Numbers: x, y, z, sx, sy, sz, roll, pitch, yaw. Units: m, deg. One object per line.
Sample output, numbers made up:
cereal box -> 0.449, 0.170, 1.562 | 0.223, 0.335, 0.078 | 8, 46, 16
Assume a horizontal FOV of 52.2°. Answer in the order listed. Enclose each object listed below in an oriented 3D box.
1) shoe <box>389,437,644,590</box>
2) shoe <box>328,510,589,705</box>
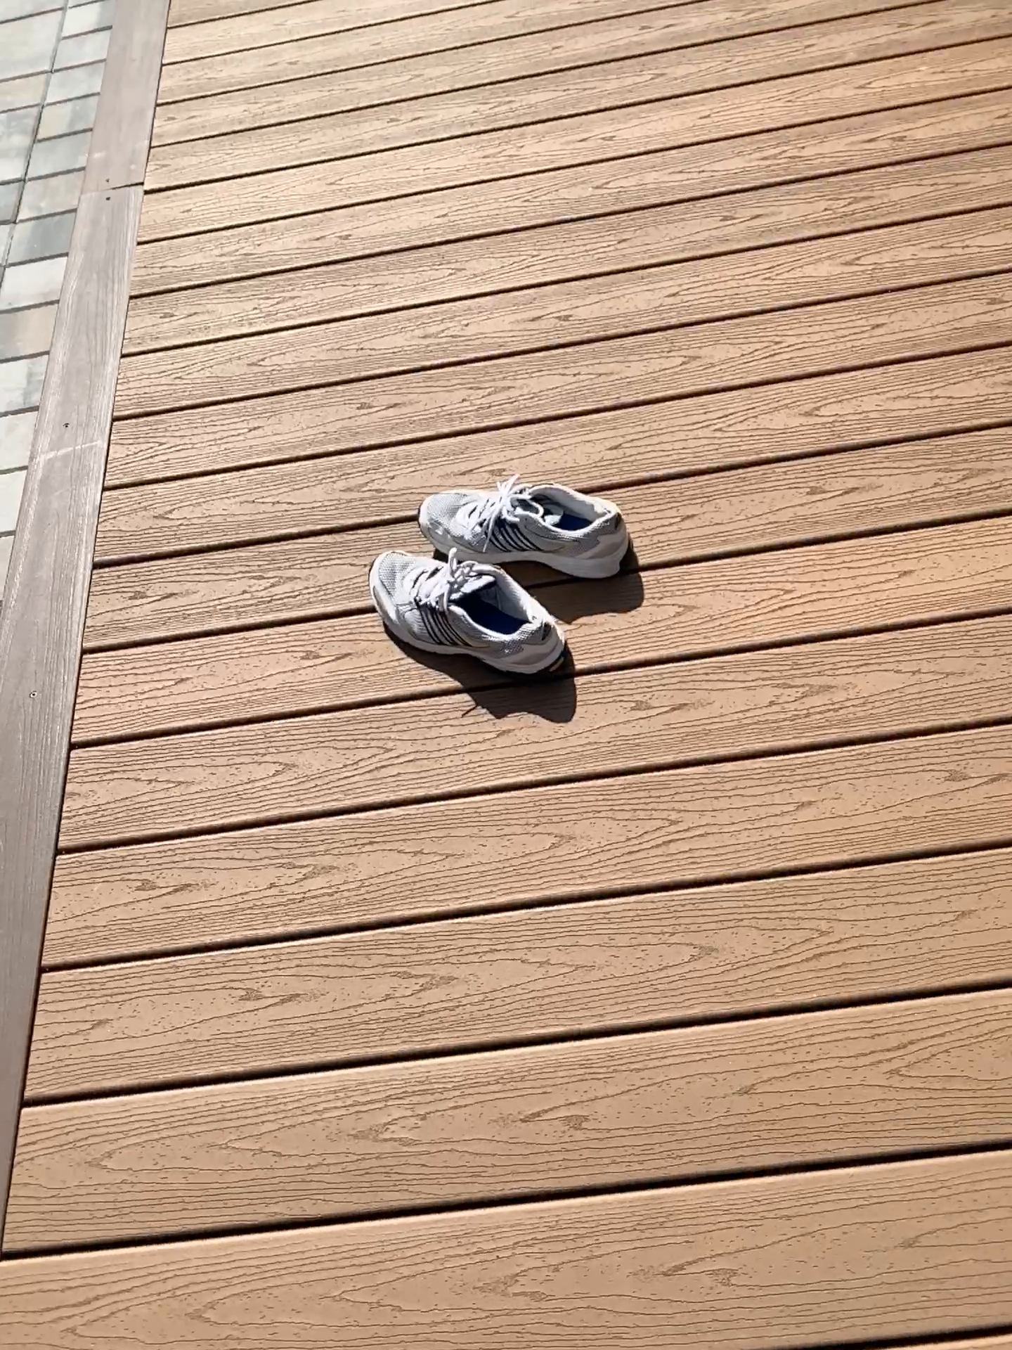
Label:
shoe -> 0.017, -0.211, 1.342 | 0.301, 0.100, 0.120 | 11, 62, 15
shoe -> -0.057, -0.087, 1.283 | 0.291, 0.100, 0.120 | 22, 65, 20
